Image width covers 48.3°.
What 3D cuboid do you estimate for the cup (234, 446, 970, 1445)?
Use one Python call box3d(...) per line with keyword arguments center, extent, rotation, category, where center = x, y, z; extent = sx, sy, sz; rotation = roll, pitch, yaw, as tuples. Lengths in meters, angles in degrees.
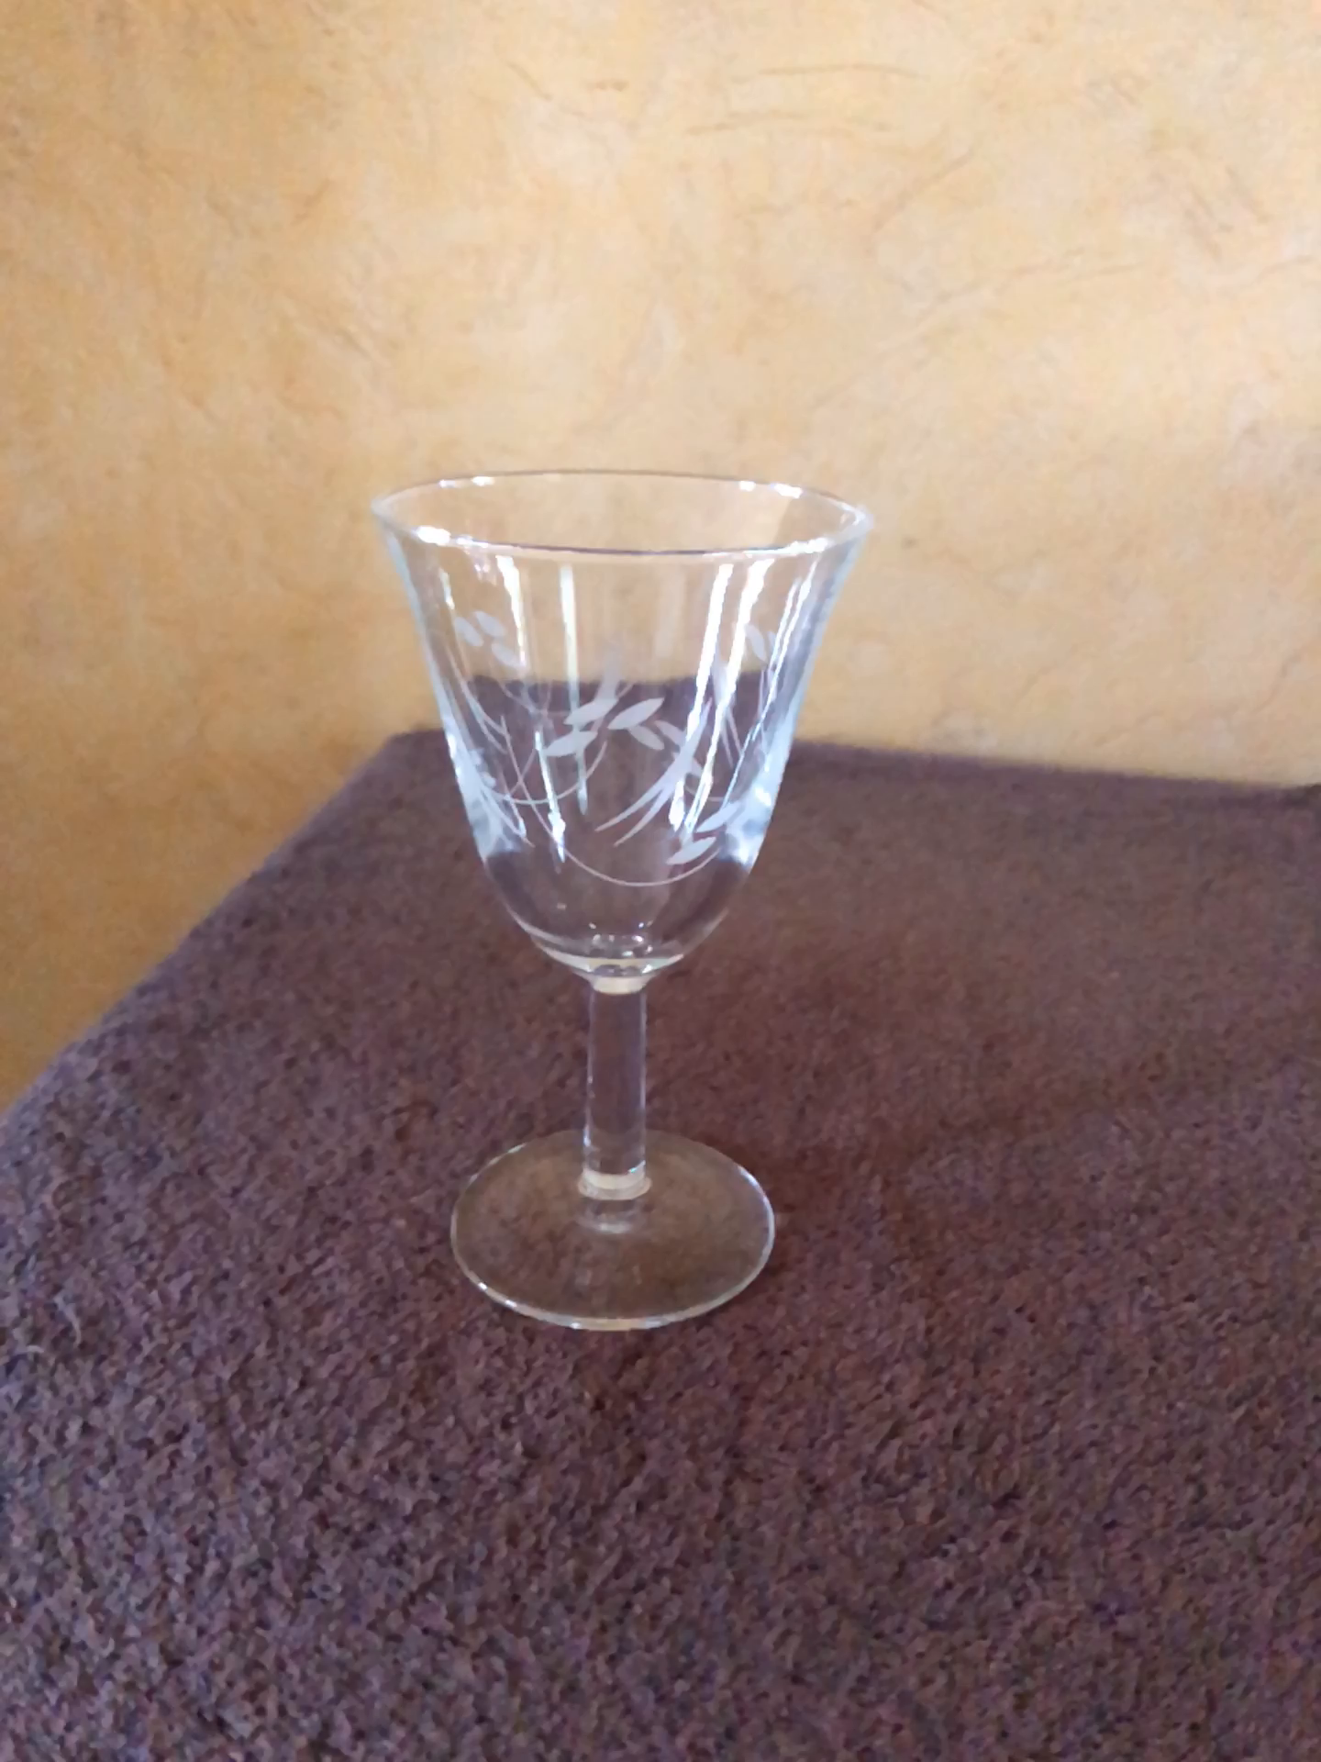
box3d(center=(-0.008, 0.003, 0.280), extent=(0.090, 0.149, 0.091), rotation=(1, 23, 0), category="cup")
